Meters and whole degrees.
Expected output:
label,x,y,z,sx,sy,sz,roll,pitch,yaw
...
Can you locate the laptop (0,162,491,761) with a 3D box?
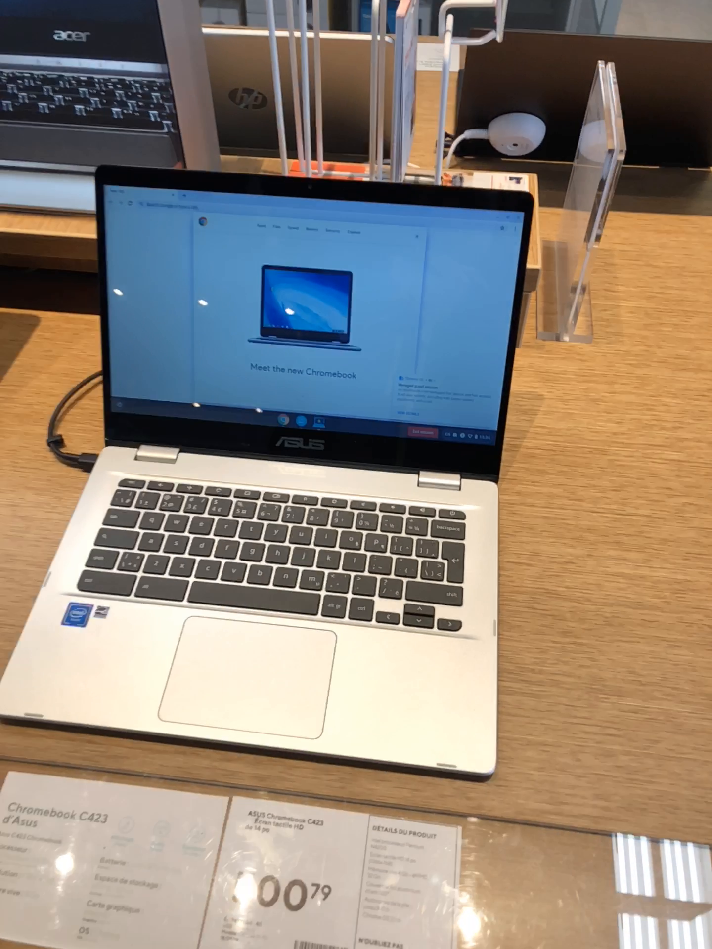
label,x,y,z,sx,sy,sz,roll,pitch,yaw
laptop,-0.073,-0.025,0.516,0.281,0.186,0.337,4,49,1
